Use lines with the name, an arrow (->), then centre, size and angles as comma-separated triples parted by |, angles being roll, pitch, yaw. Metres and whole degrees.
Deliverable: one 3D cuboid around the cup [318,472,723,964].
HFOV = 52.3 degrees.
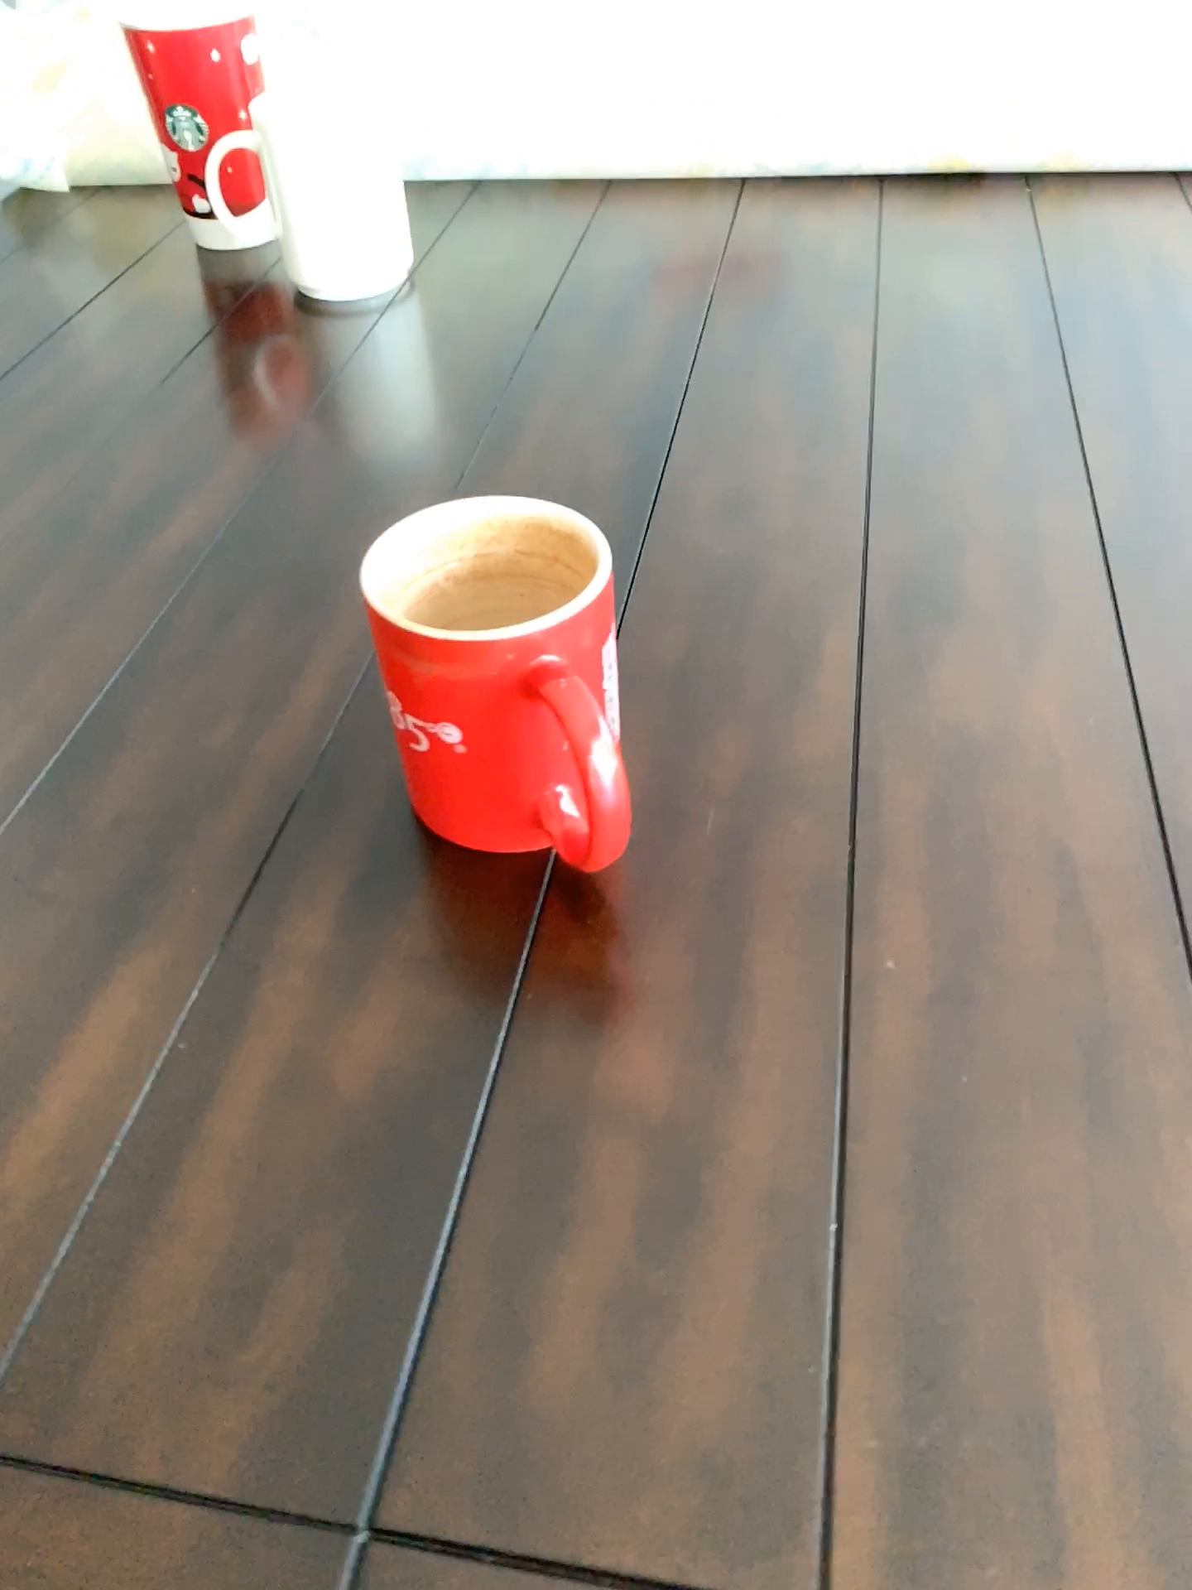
cup -> -0.028, -0.032, 0.419 | 0.090, 0.090, 0.131 | -18, 45, -15
